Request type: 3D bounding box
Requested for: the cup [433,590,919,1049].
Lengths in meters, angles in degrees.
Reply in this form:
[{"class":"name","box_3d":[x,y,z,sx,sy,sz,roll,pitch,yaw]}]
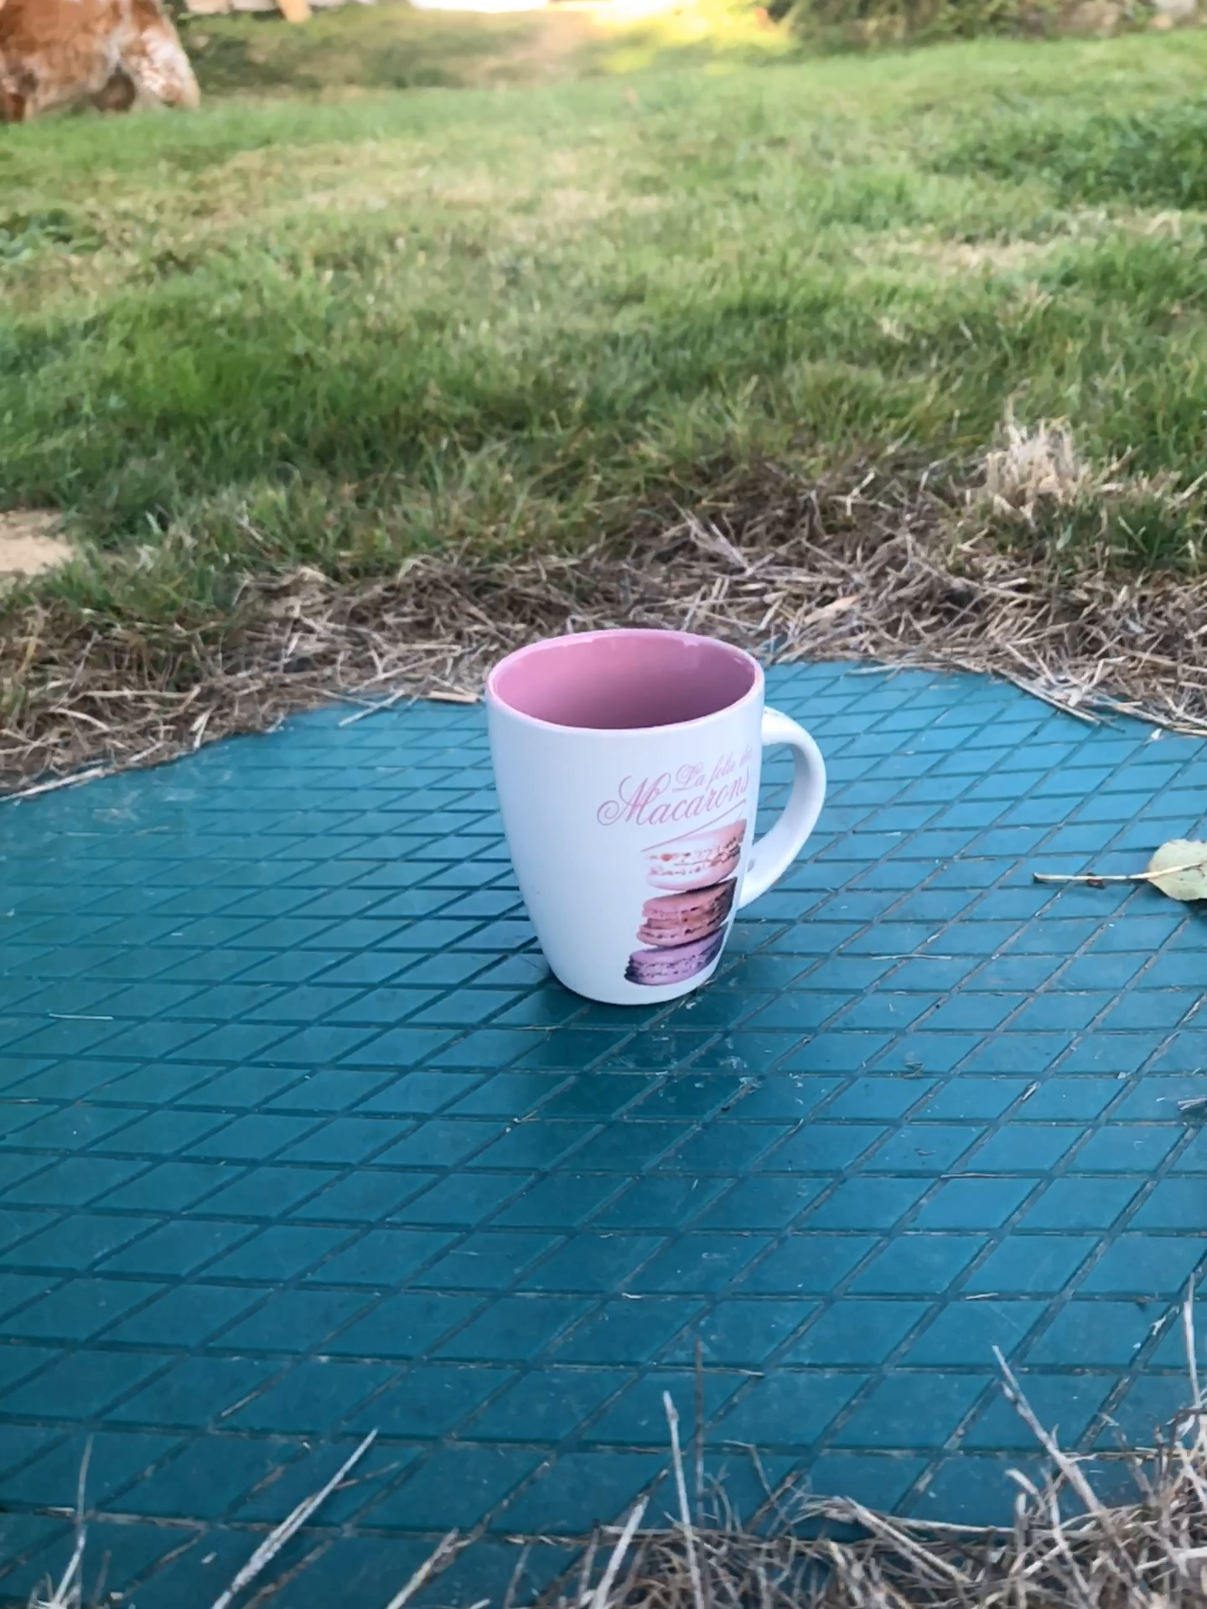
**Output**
[{"class":"cup","box_3d":[0.024,-0.002,0.436,0.121,0.091,0.095,-17,29,-23]}]
